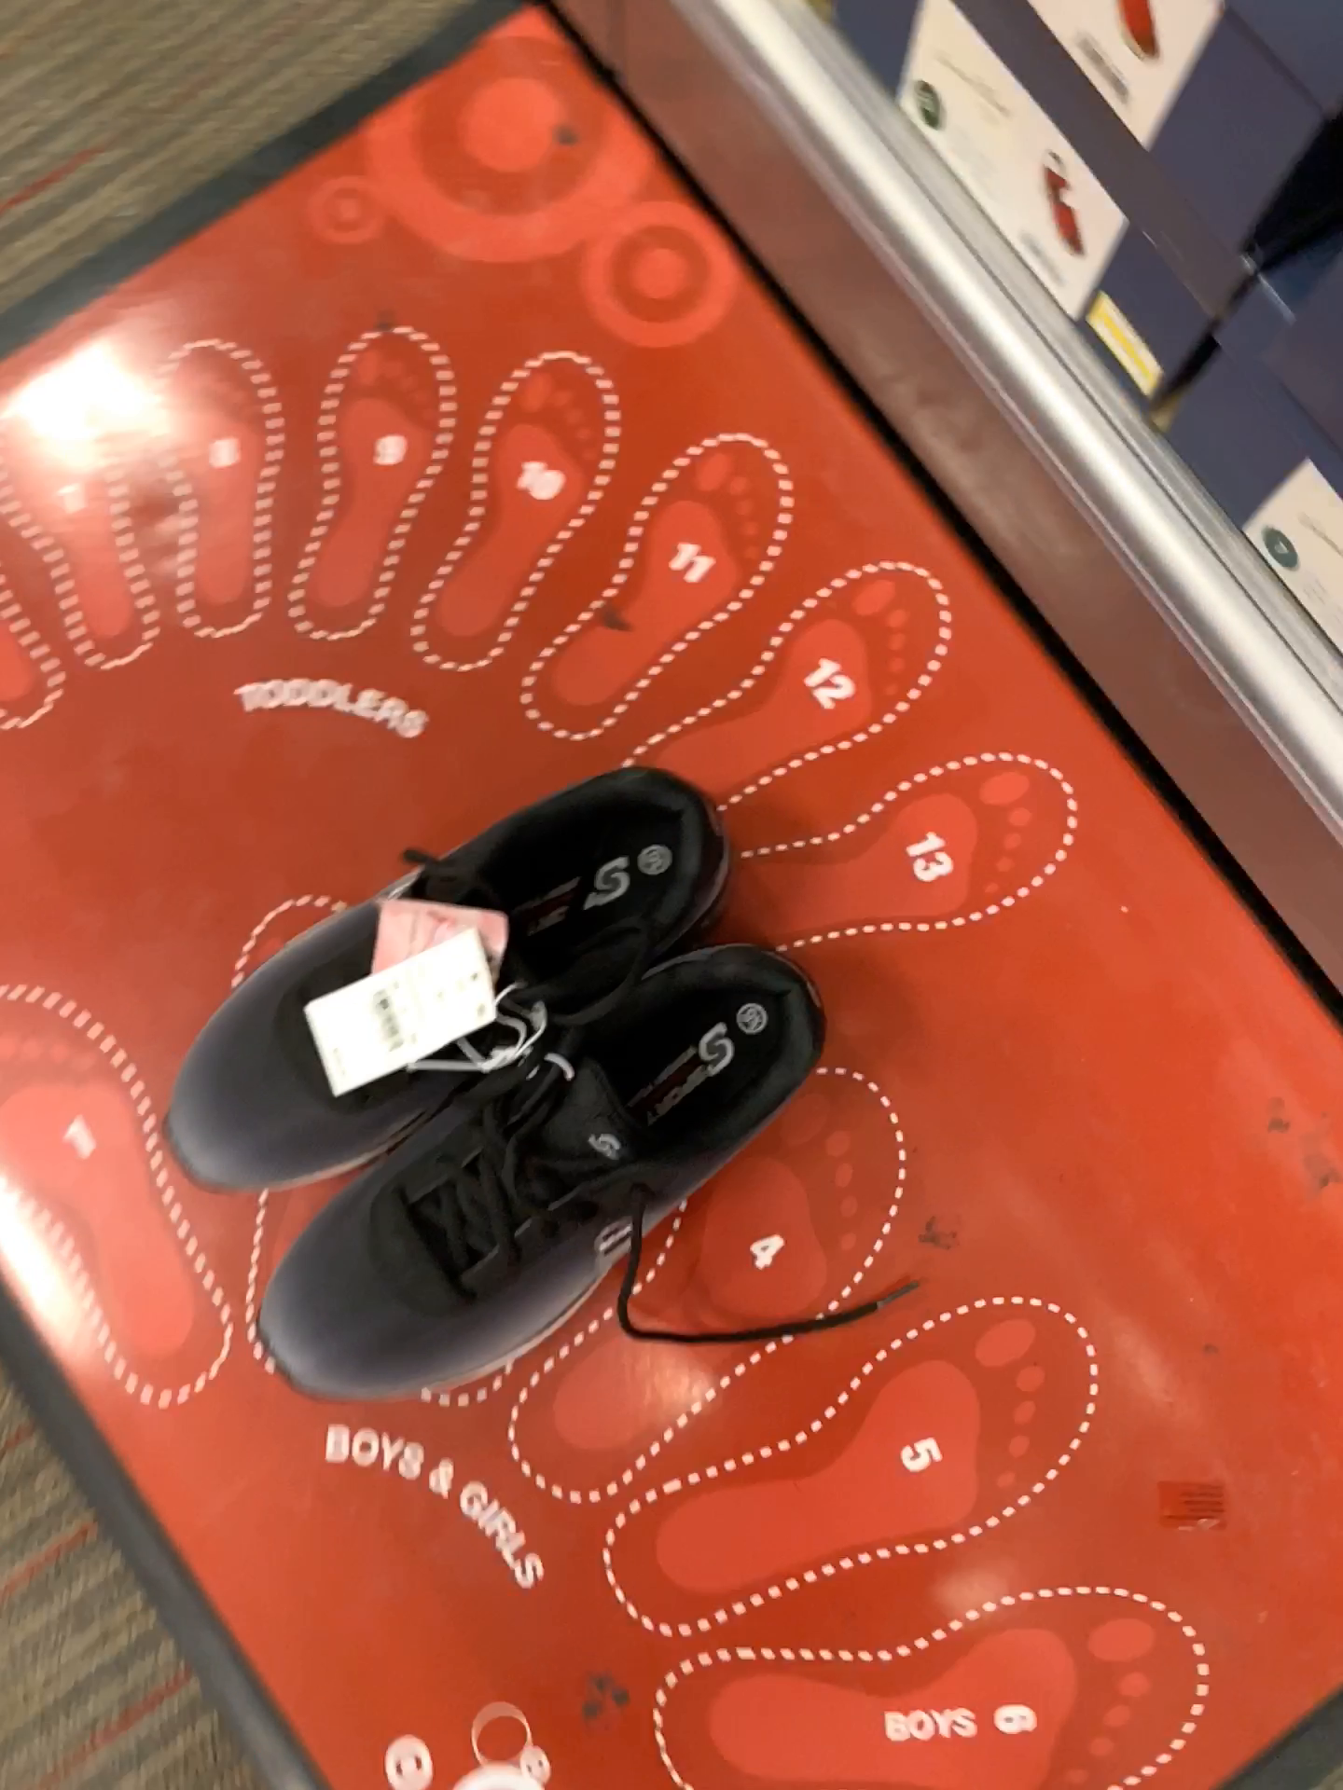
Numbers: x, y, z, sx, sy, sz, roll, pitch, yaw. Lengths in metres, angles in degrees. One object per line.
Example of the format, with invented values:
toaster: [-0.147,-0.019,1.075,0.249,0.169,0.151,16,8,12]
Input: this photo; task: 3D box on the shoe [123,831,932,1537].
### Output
shoe: [-0.047,0.100,0.513,0.260,0.100,0.100,-35,83,-4]

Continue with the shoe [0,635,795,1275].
shoe: [-0.094,0.024,0.524,0.260,0.100,0.100,-31,83,-4]
